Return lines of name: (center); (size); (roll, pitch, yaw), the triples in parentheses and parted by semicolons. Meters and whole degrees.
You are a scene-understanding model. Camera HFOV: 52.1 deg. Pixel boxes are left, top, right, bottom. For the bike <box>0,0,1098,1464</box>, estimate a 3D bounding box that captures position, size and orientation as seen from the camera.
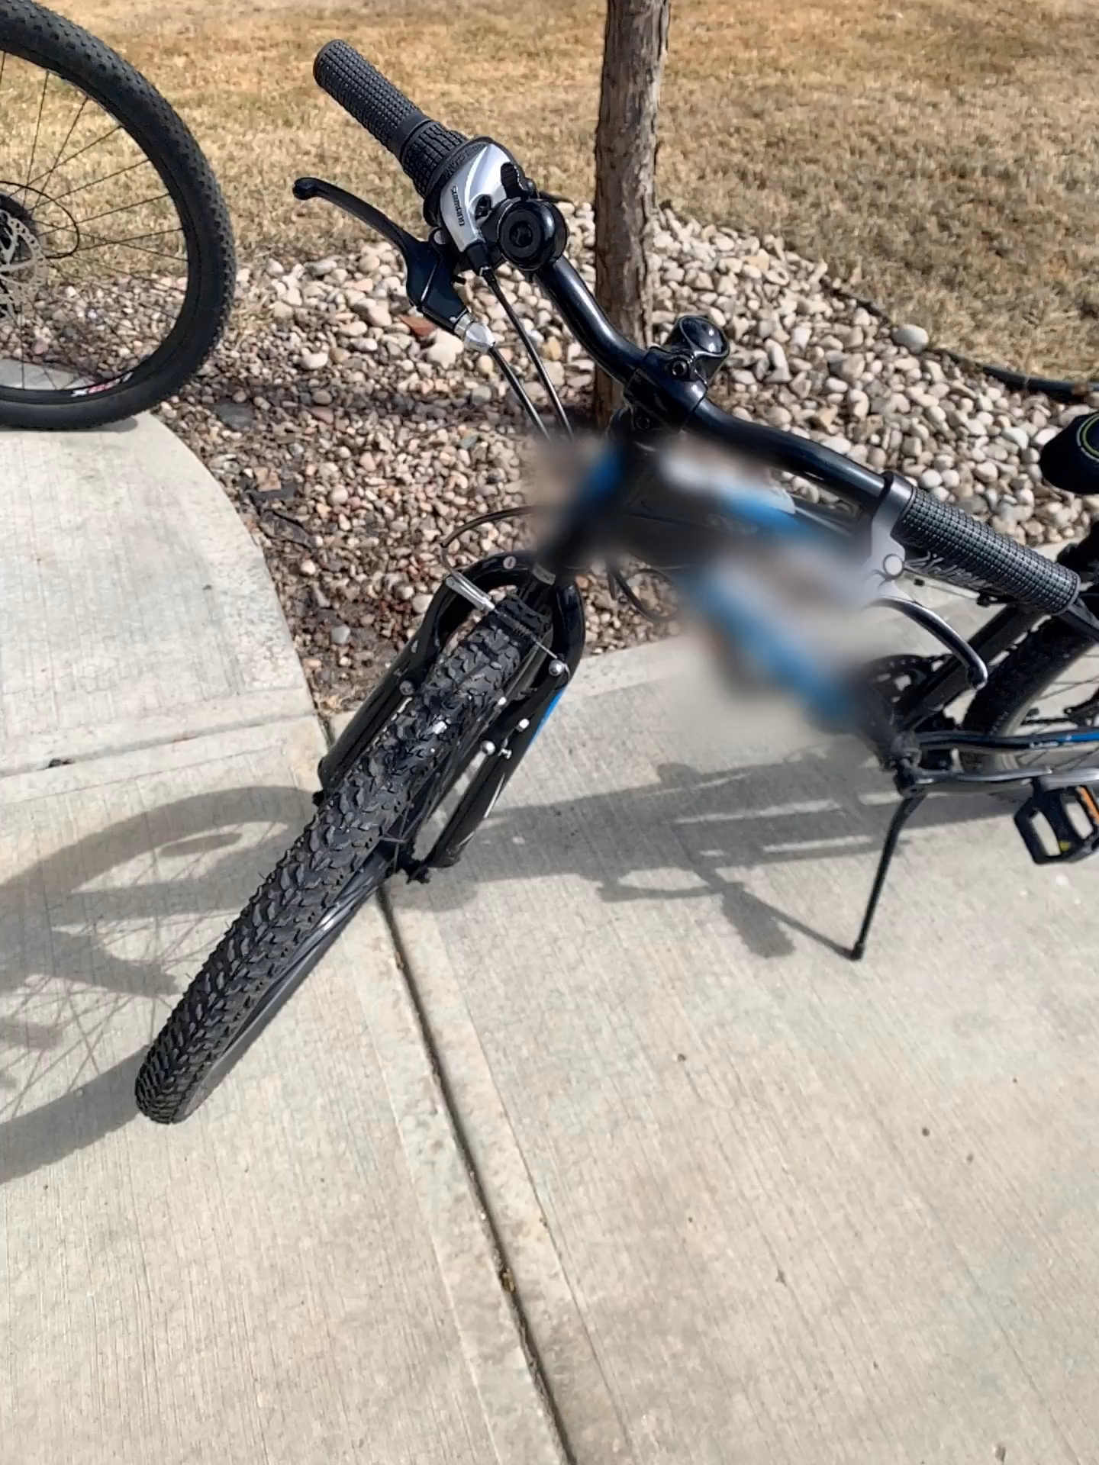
bike: (0.334, 0.019, 0.945); (1.390, 0.886, 0.516); (-18, 50, -10)
